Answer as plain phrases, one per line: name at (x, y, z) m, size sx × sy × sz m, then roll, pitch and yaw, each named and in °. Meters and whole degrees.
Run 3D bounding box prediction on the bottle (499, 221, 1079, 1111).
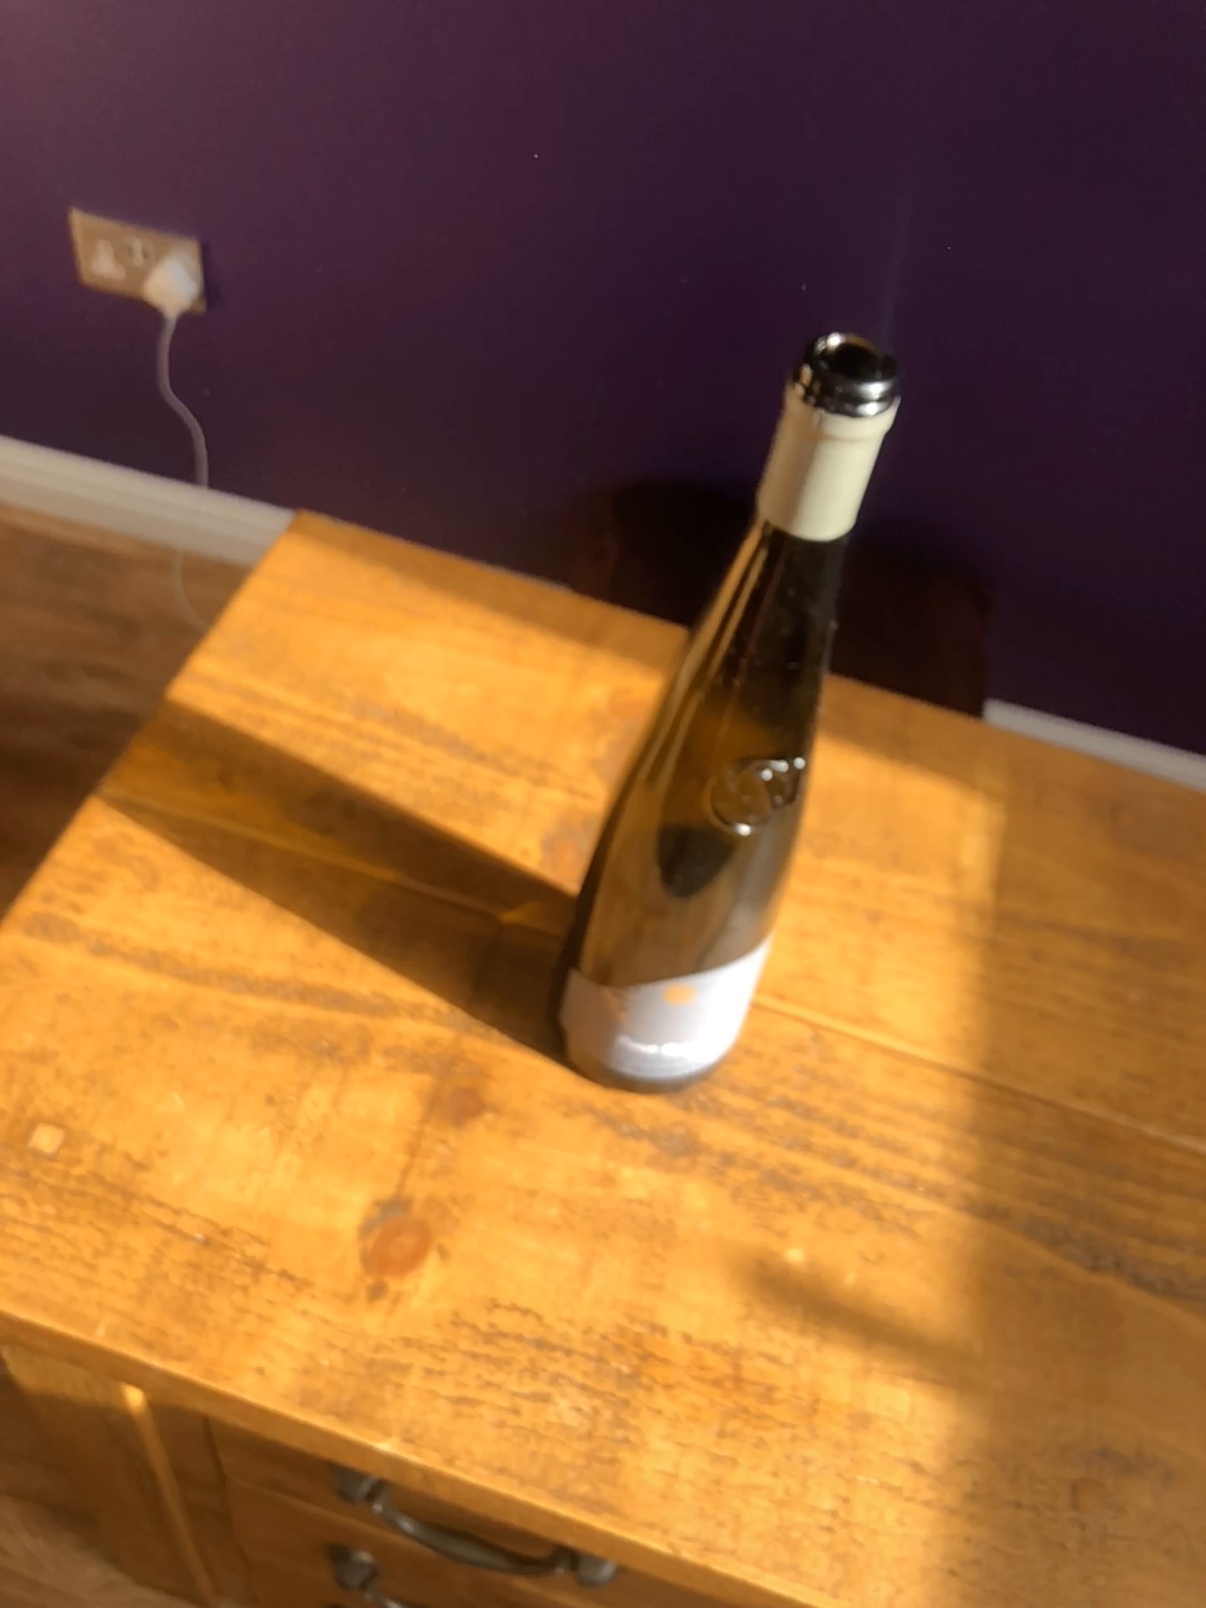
bottle at (0.035, -0.020, 0.485) m, size 0.100 × 0.337 × 0.101 m, roll 5°, pitch 50°, yaw -6°
